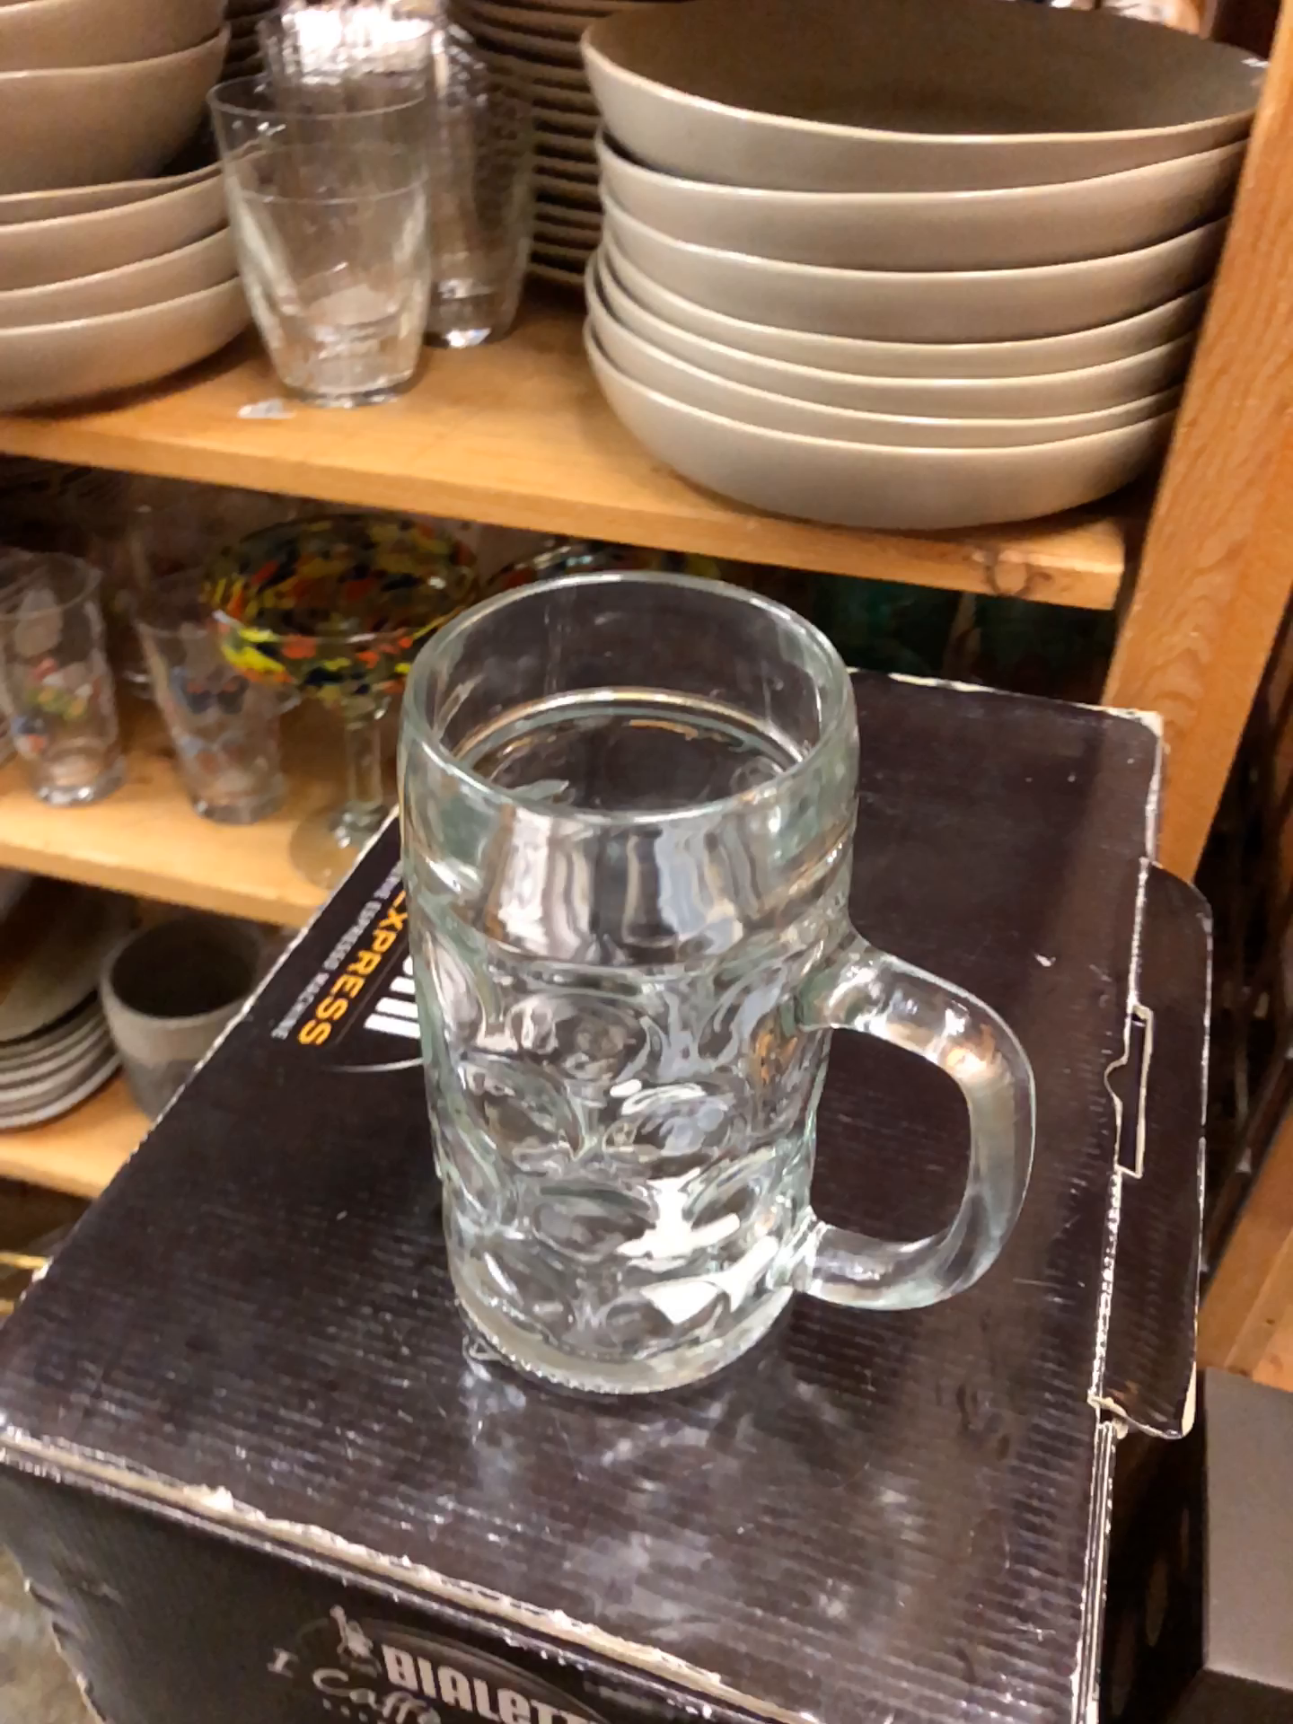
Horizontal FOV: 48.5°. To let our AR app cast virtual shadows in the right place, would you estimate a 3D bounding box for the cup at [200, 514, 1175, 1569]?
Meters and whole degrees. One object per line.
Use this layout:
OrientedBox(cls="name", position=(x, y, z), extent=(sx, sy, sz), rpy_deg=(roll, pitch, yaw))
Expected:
OrientedBox(cls="cup", position=(0.009, 0.029, 0.281), extent=(0.129, 0.136, 0.100), rpy_deg=(21, 43, 22))
